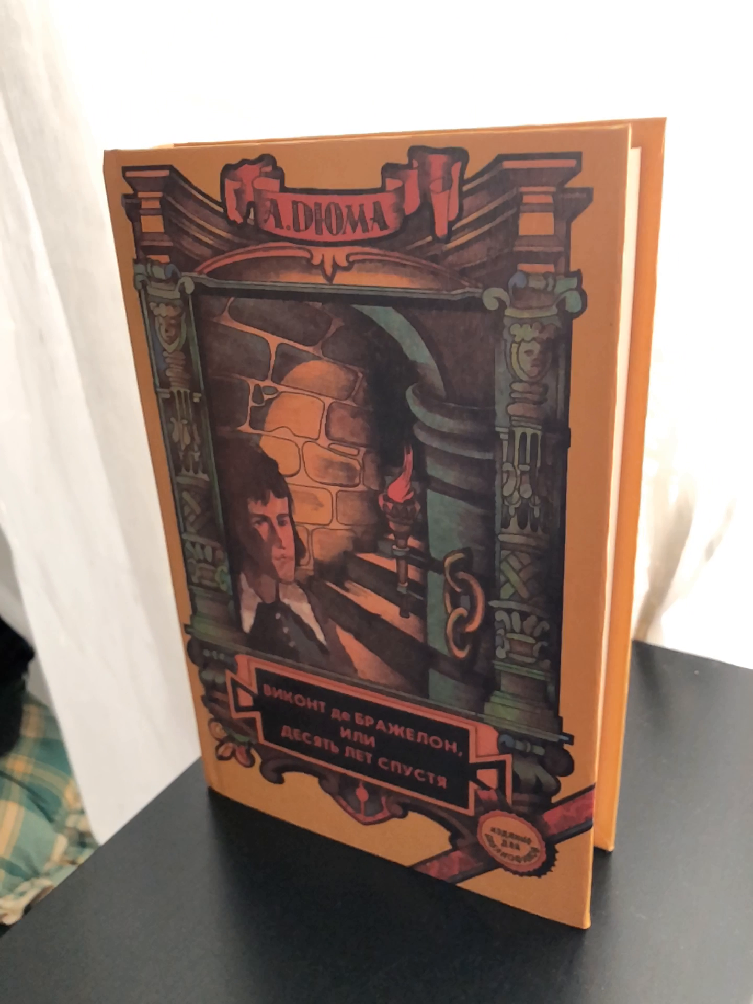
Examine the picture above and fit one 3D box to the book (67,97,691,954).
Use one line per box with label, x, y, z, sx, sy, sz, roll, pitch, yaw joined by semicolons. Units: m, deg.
book;0.003;0.008;0.239;0.142;0.209;0.045;8;27;29
